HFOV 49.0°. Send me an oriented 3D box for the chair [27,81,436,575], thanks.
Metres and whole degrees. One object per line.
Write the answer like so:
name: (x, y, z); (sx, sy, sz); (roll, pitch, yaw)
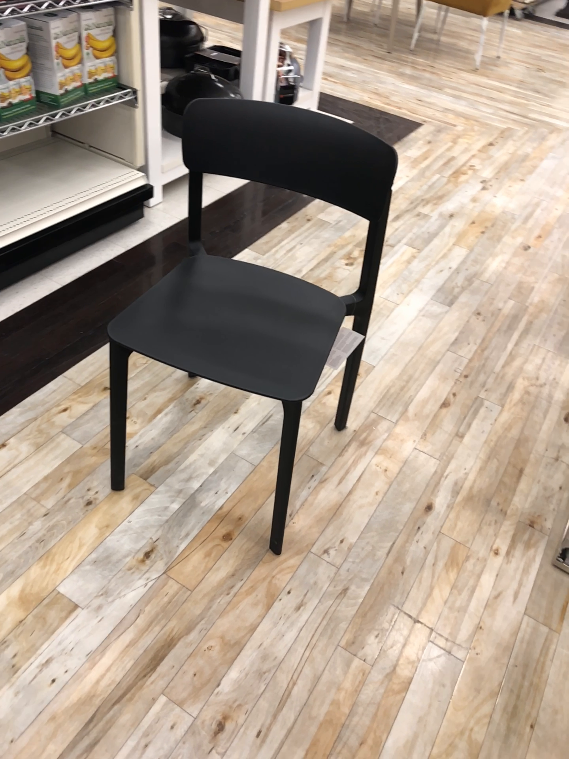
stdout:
chair: (-0.078, -0.109, 1.265); (0.500, 0.707, 0.542); (18, 42, 11)
